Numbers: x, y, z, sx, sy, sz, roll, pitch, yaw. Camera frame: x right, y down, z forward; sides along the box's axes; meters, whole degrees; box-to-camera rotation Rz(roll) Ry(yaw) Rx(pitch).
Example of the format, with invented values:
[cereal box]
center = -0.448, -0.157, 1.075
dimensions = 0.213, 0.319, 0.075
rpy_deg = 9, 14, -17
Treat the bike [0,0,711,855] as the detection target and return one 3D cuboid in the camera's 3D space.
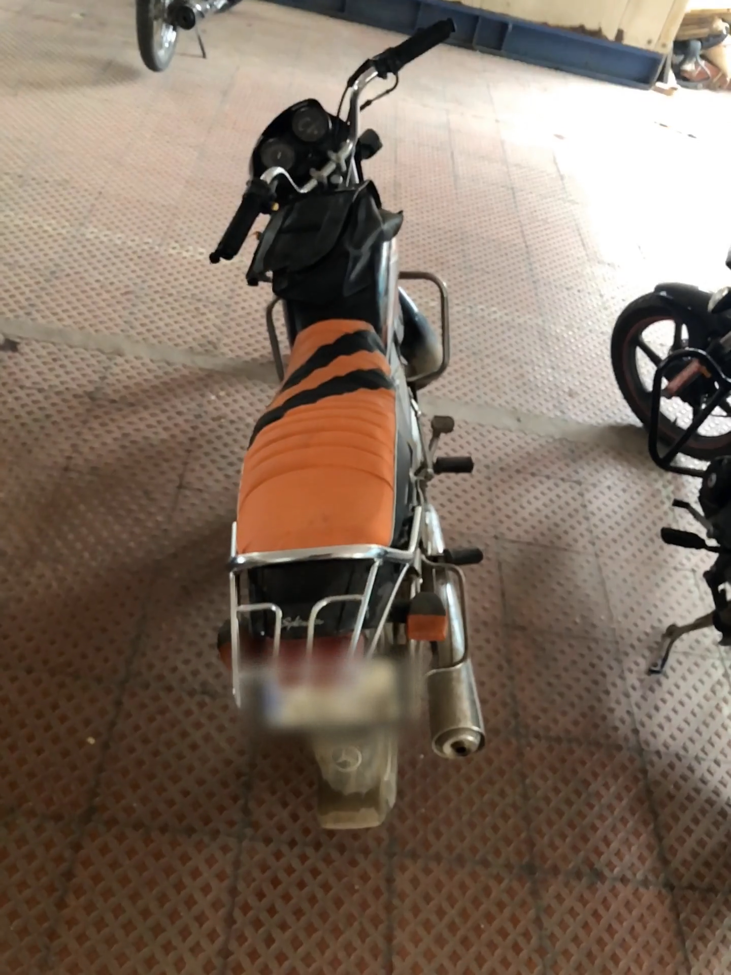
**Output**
[bike]
center = -0.173, -0.201, 1.642
dimensions = 0.688, 1.123, 1.410
rpy_deg = 5, 44, -12
